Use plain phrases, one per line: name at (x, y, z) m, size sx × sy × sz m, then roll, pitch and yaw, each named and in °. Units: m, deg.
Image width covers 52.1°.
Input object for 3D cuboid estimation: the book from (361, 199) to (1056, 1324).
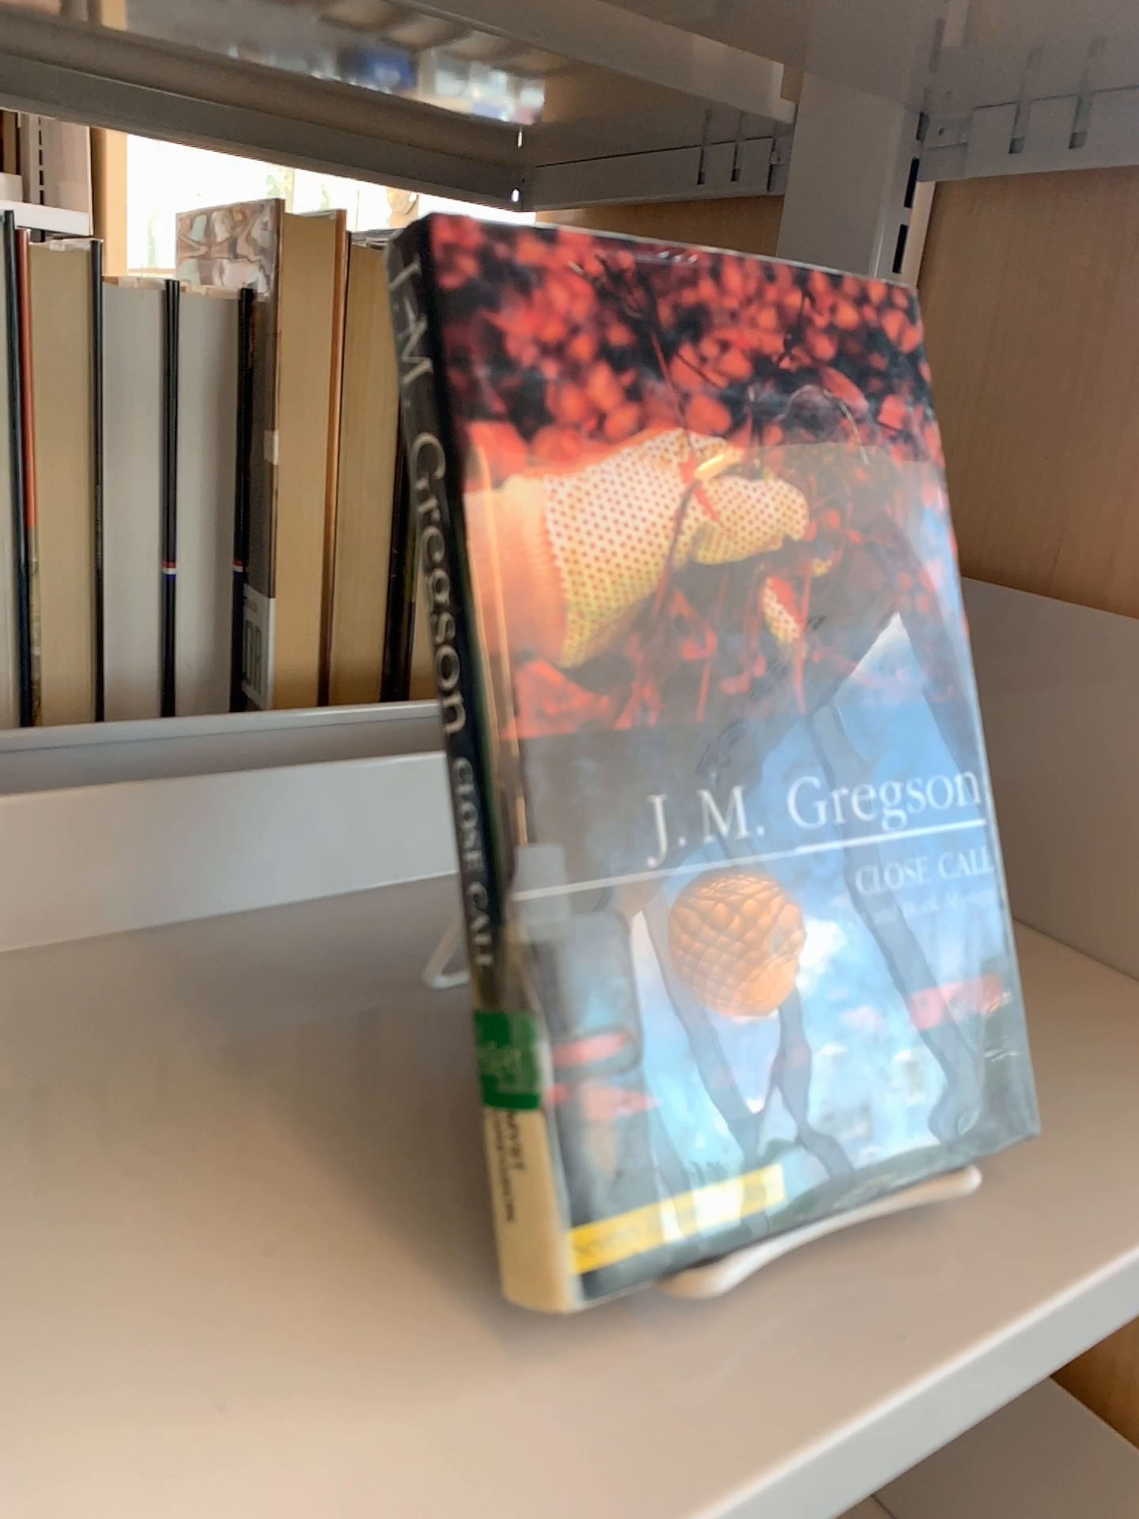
book at (0.036, -0.007, 0.262) m, size 0.140 × 0.208 × 0.030 m, roll -5°, pitch -3°, yaw -30°
